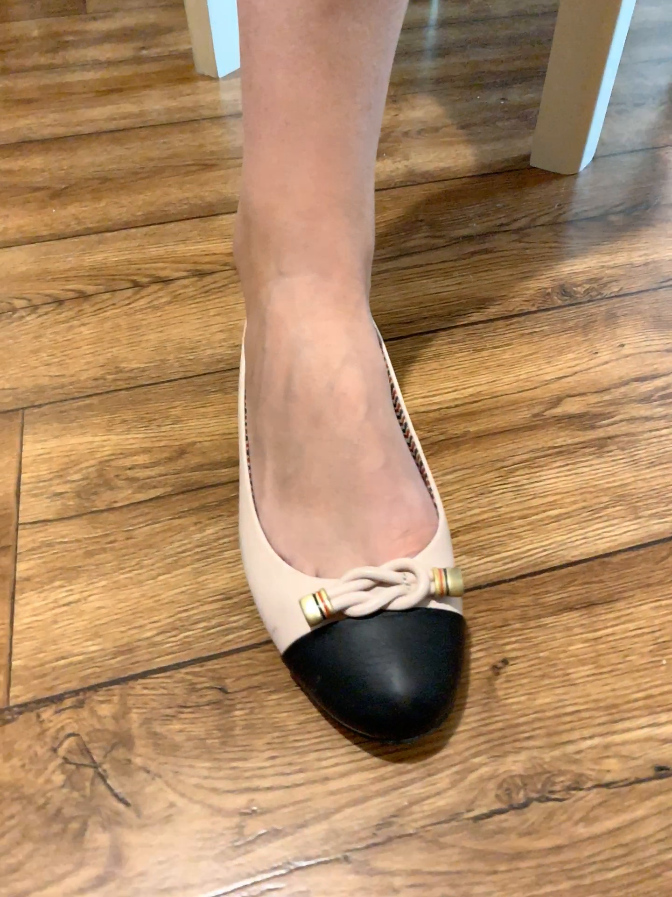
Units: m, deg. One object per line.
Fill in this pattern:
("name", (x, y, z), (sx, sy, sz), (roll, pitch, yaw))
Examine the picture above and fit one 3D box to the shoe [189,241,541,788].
("shoe", (-0.006, 0.005, 0.283), (0.083, 0.059, 0.221), (-10, 48, -7))
